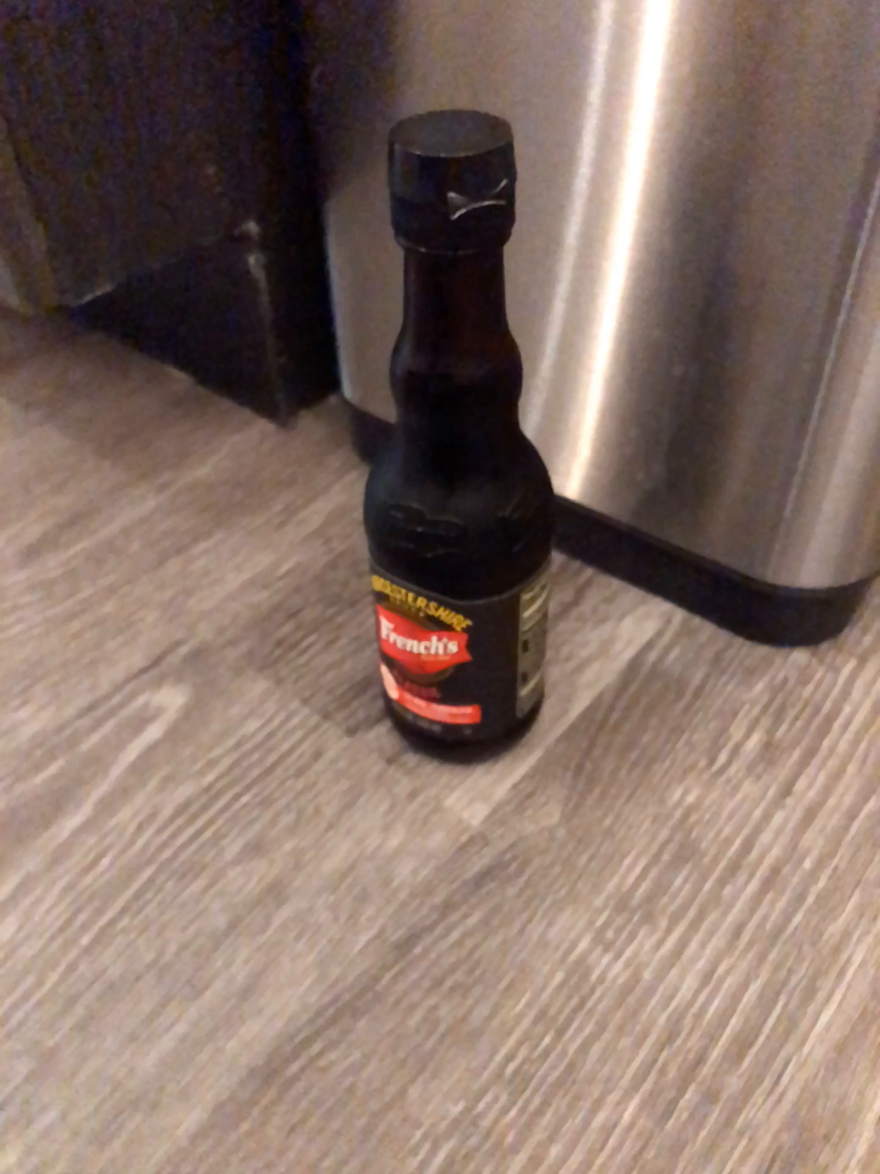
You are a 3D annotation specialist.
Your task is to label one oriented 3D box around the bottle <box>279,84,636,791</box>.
[{"bbox_3d":[0.008,-0.031,0.298,0.060,0.199,0.060,-1,43,1],"label":"bottle"}]
